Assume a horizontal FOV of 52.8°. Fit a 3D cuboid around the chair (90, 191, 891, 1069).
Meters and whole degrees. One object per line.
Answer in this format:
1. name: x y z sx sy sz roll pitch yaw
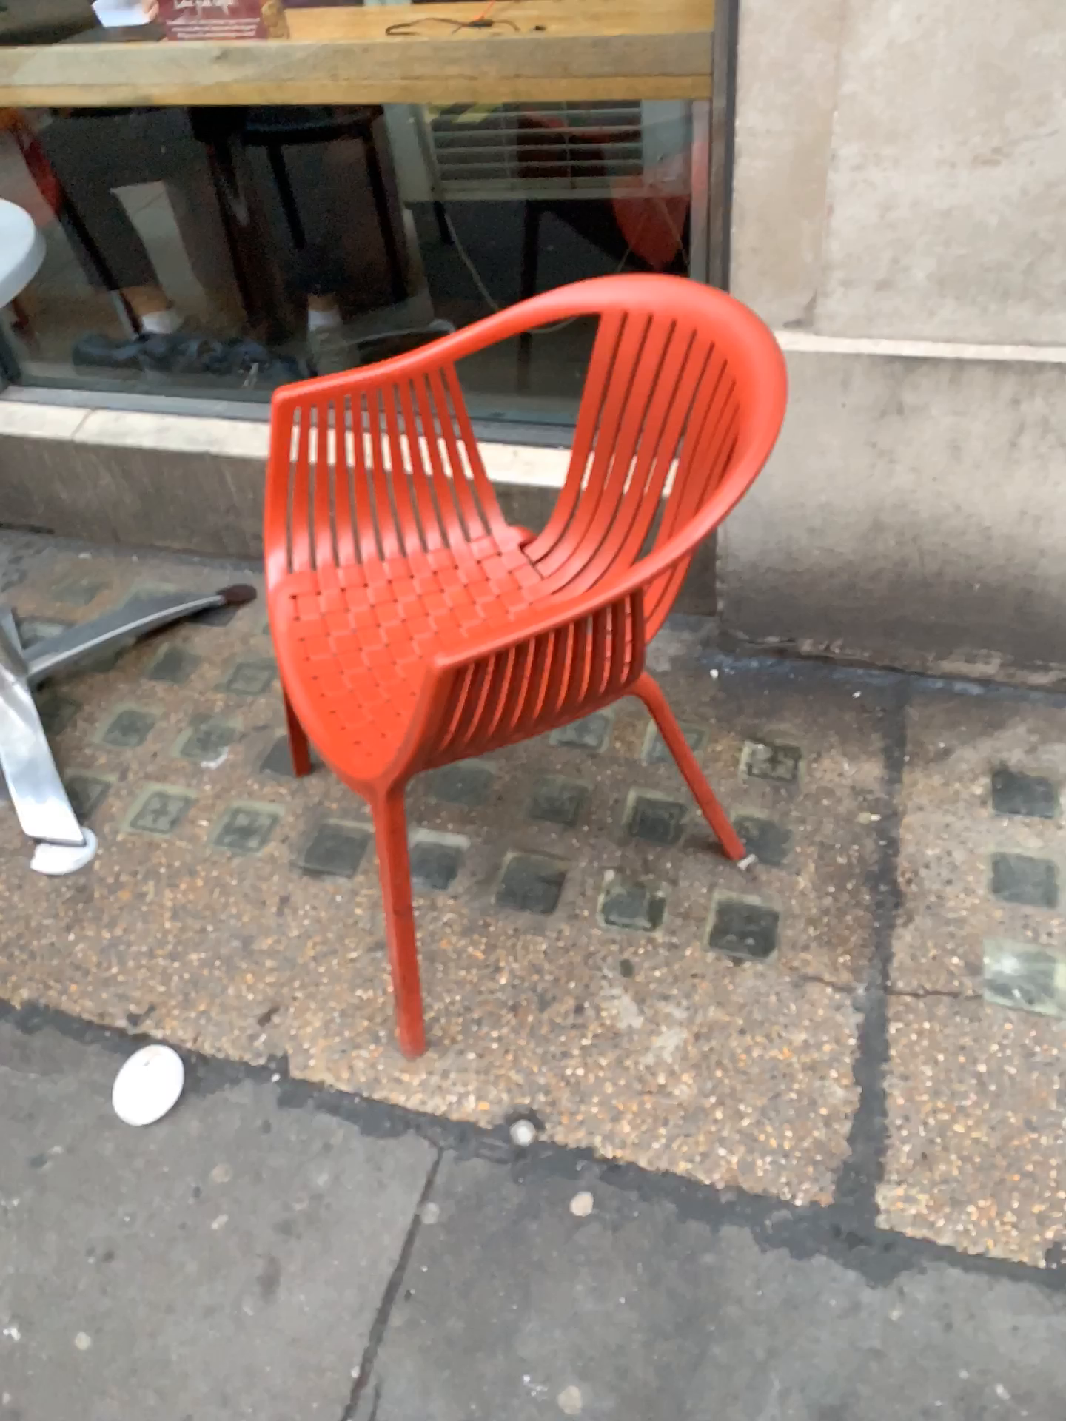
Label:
1. chair: -0.053 -0.109 1.303 0.611 0.693 0.585 -22 47 -14
